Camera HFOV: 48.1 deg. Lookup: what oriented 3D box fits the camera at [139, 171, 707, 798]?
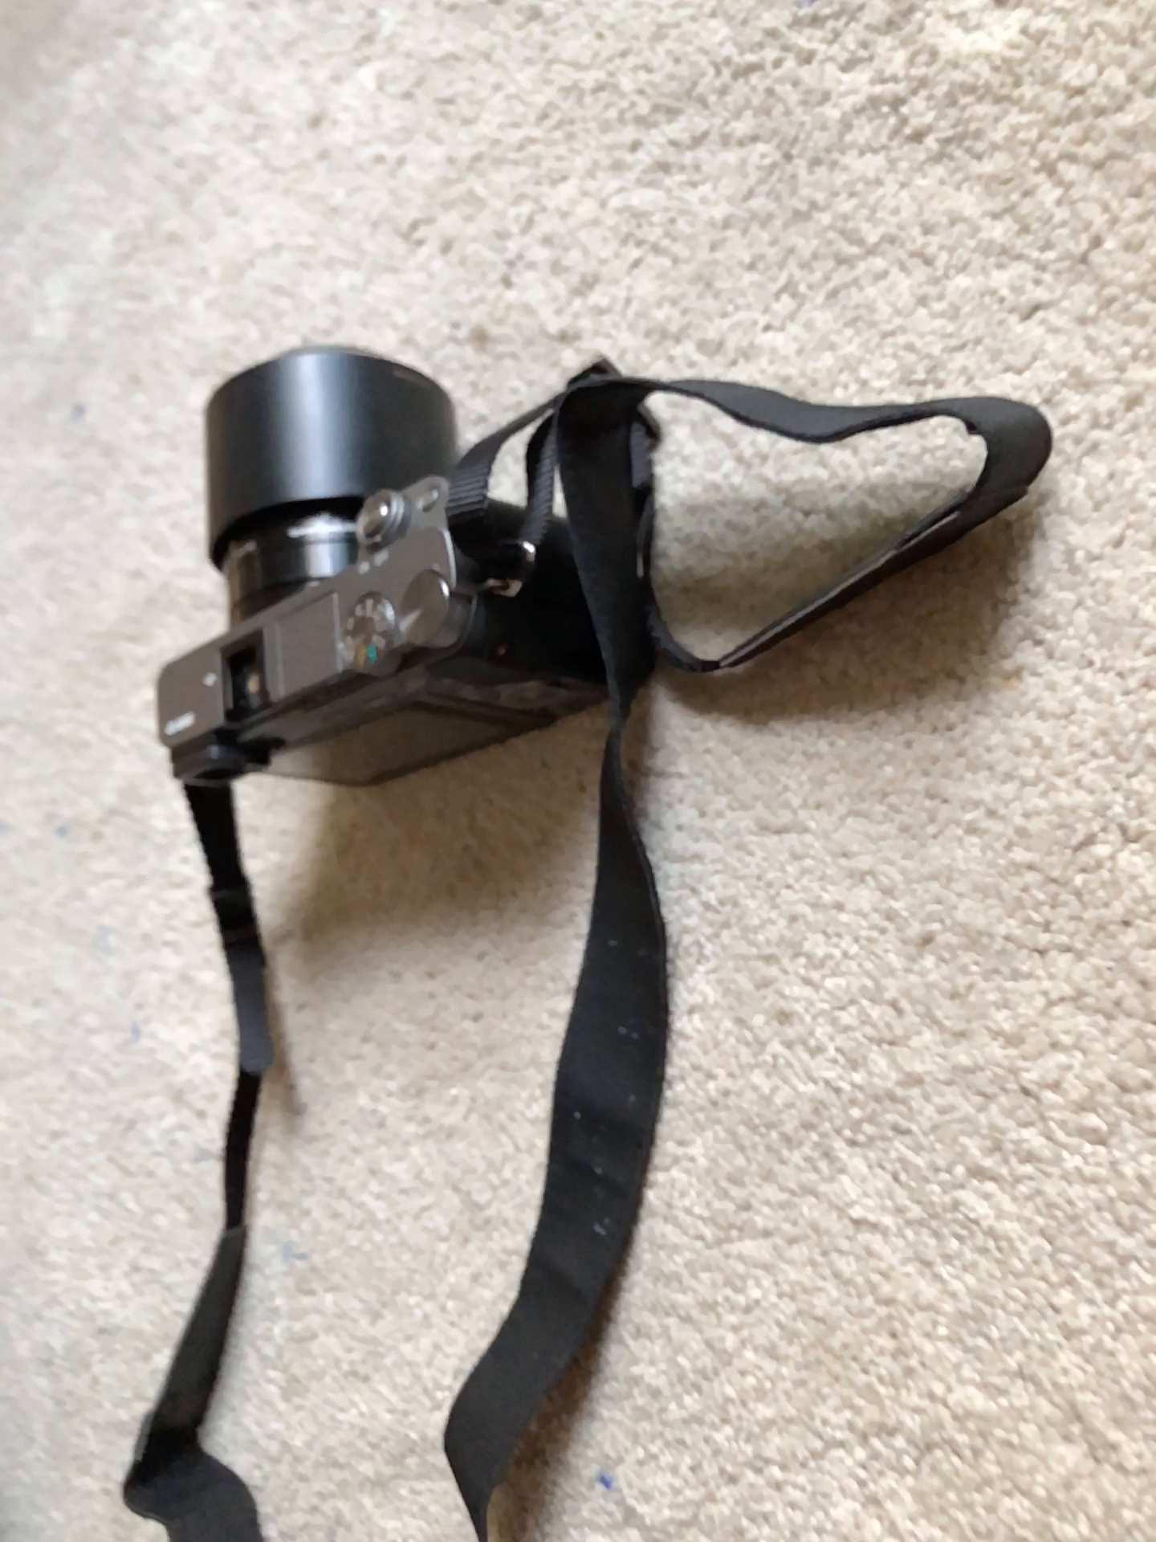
[{"bbox_3d":[-0.044,-0.058,0.319,0.121,0.070,0.100,-17,73,40],"label":"camera"}]
